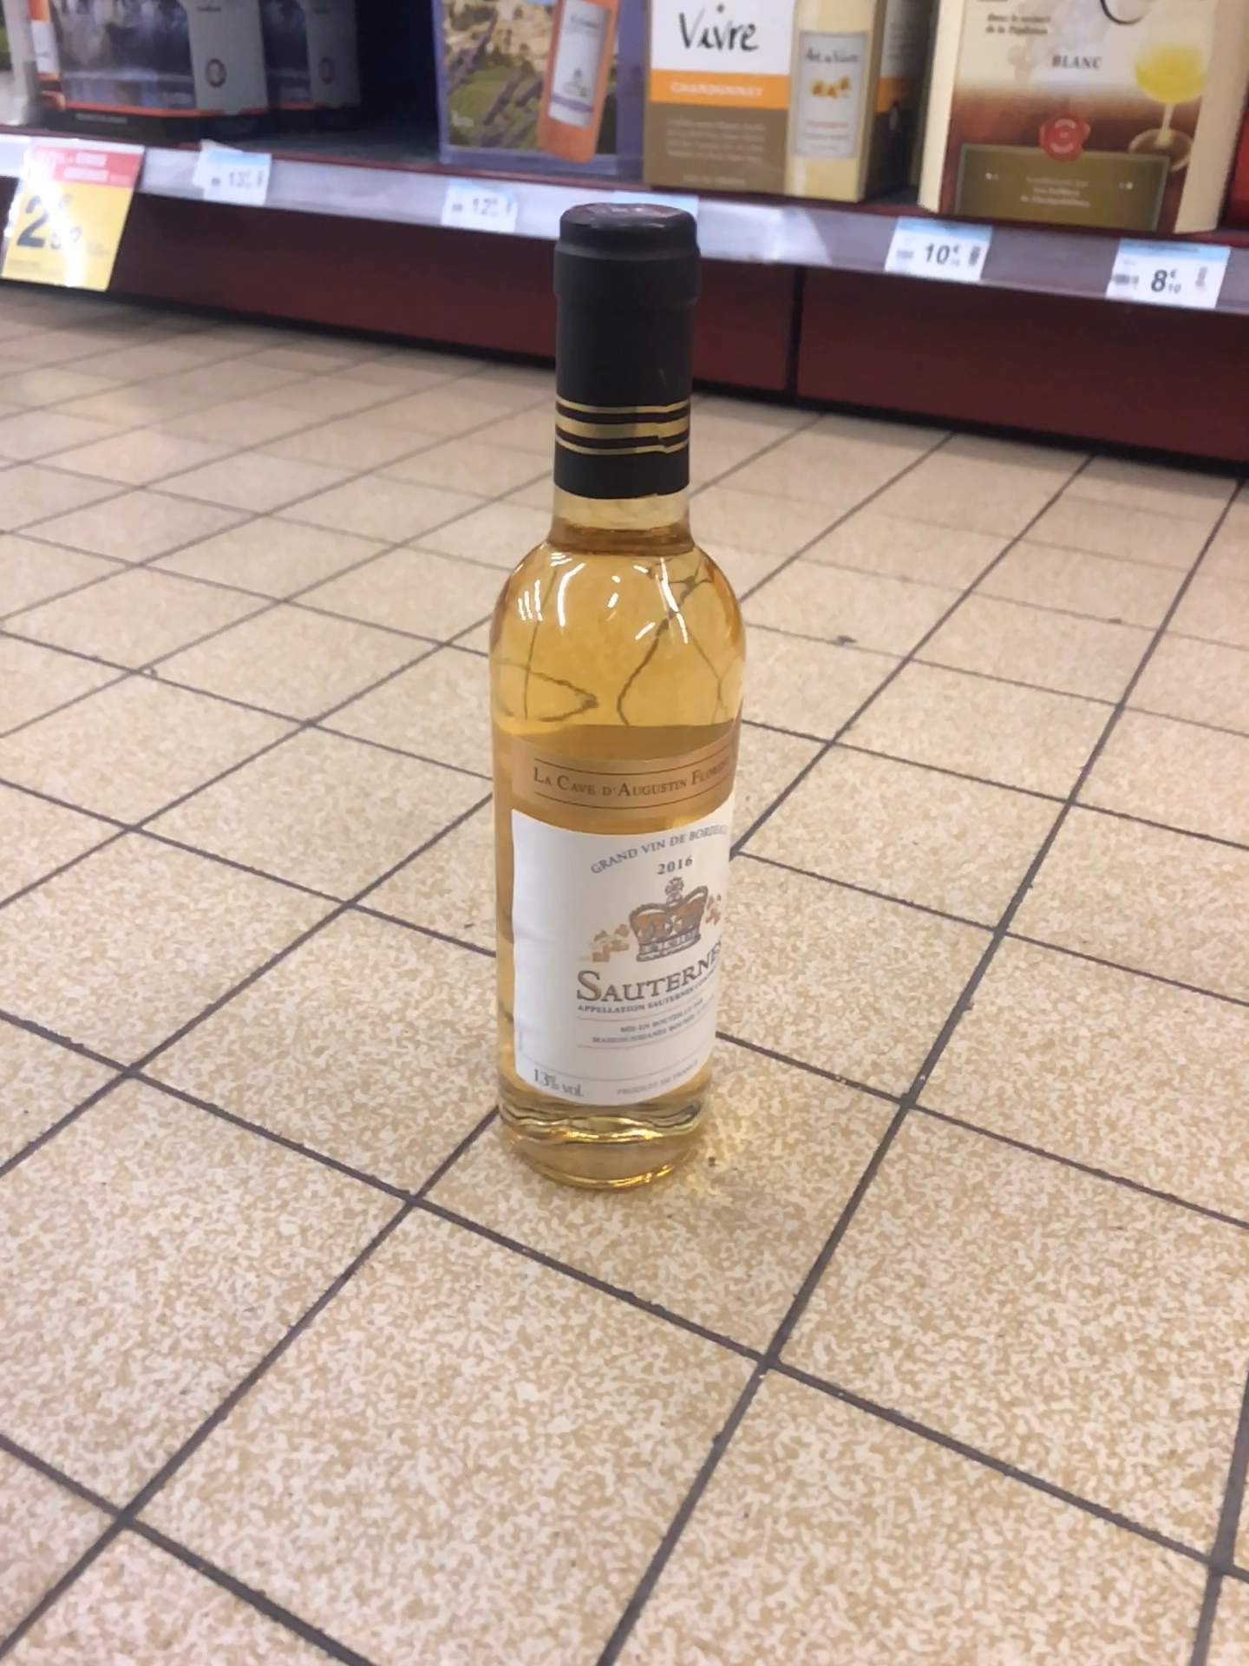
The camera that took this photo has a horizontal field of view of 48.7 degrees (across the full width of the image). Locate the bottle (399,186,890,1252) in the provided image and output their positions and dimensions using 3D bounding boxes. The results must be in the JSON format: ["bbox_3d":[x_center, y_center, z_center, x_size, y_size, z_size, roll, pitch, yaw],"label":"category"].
[{"bbox_3d":[0.000,-0.021,0.335,0.070,0.239,0.070,1,30,-1],"label":"bottle"}]
